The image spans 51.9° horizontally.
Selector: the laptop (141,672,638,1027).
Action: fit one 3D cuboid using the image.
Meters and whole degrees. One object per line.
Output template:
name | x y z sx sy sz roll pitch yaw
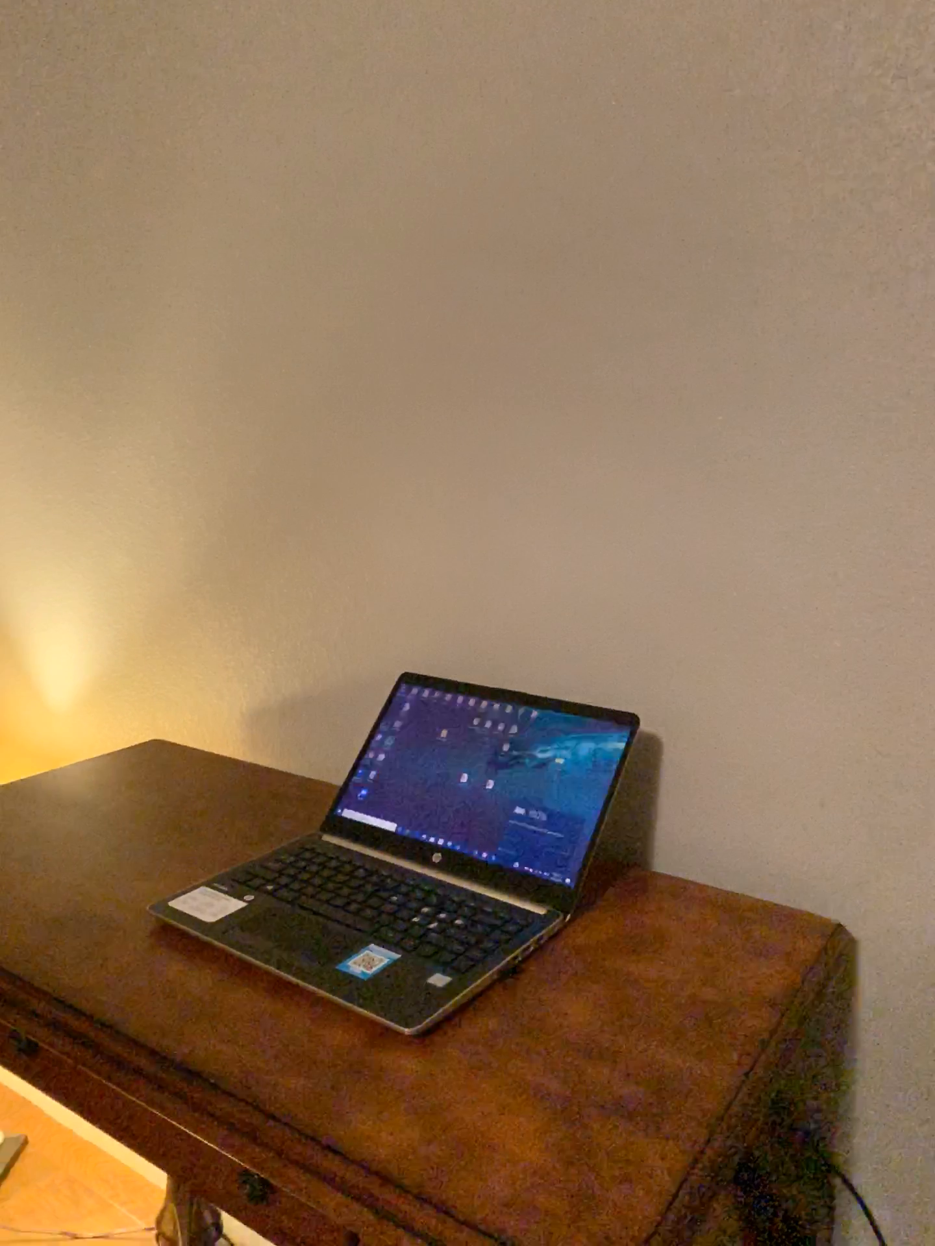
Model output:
laptop | -0.062 0.178 0.935 0.317 0.152 0.368 8 12 36
